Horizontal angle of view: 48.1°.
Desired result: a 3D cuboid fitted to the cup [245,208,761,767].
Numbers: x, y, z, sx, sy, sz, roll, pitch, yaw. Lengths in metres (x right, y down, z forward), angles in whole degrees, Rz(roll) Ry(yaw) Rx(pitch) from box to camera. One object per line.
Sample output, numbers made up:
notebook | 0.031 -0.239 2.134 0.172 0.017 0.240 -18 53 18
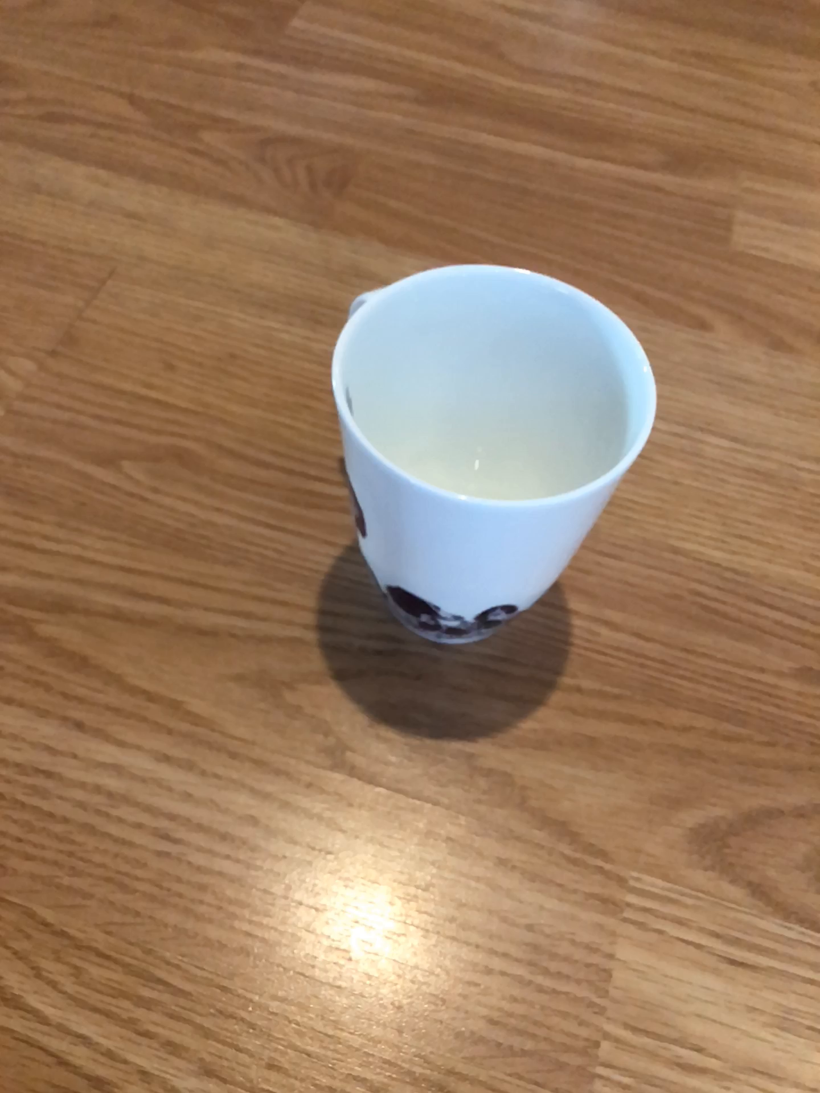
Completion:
cup | 0.018 -0.019 0.282 0.090 0.090 0.120 -22 61 -17
